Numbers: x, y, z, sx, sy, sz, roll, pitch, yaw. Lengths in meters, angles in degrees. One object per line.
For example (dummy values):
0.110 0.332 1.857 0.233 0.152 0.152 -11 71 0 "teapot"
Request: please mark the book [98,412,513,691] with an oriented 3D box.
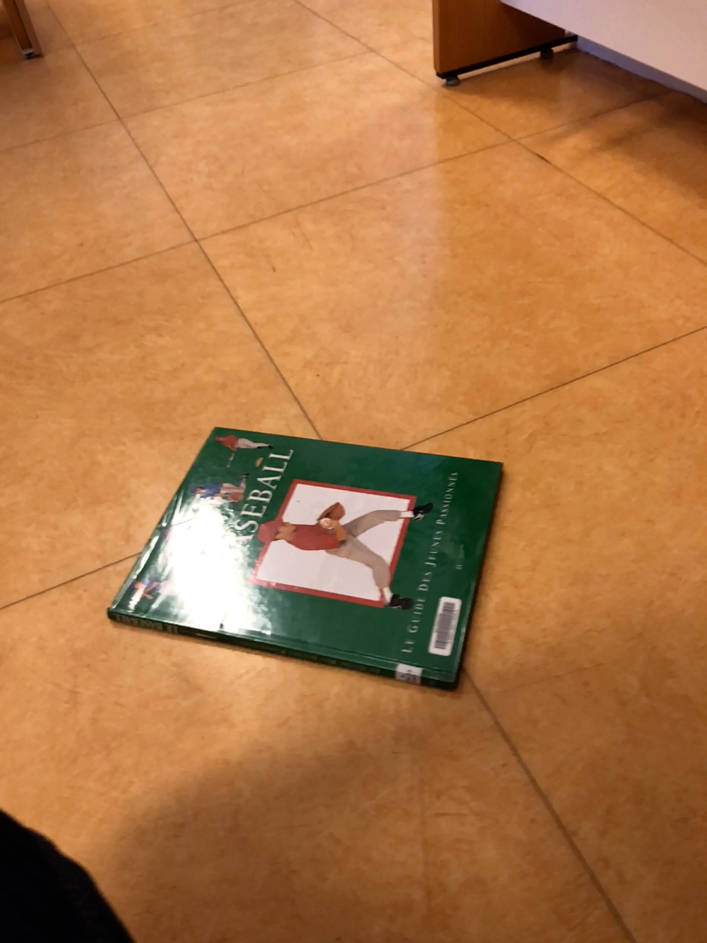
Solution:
-0.028 0.047 0.630 0.280 0.020 0.220 8 48 16 "book"
